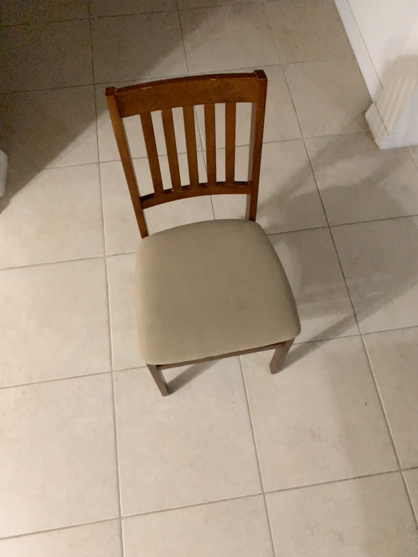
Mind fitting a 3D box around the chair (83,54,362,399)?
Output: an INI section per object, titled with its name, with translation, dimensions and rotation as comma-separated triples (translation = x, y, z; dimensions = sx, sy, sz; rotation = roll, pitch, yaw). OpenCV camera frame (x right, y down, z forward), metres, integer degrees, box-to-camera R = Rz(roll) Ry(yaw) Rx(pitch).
[chair]
translation = -0.007, -0.038, 1.238
dimensions = 0.450, 0.885, 0.593
rotation = -9, 68, -4
